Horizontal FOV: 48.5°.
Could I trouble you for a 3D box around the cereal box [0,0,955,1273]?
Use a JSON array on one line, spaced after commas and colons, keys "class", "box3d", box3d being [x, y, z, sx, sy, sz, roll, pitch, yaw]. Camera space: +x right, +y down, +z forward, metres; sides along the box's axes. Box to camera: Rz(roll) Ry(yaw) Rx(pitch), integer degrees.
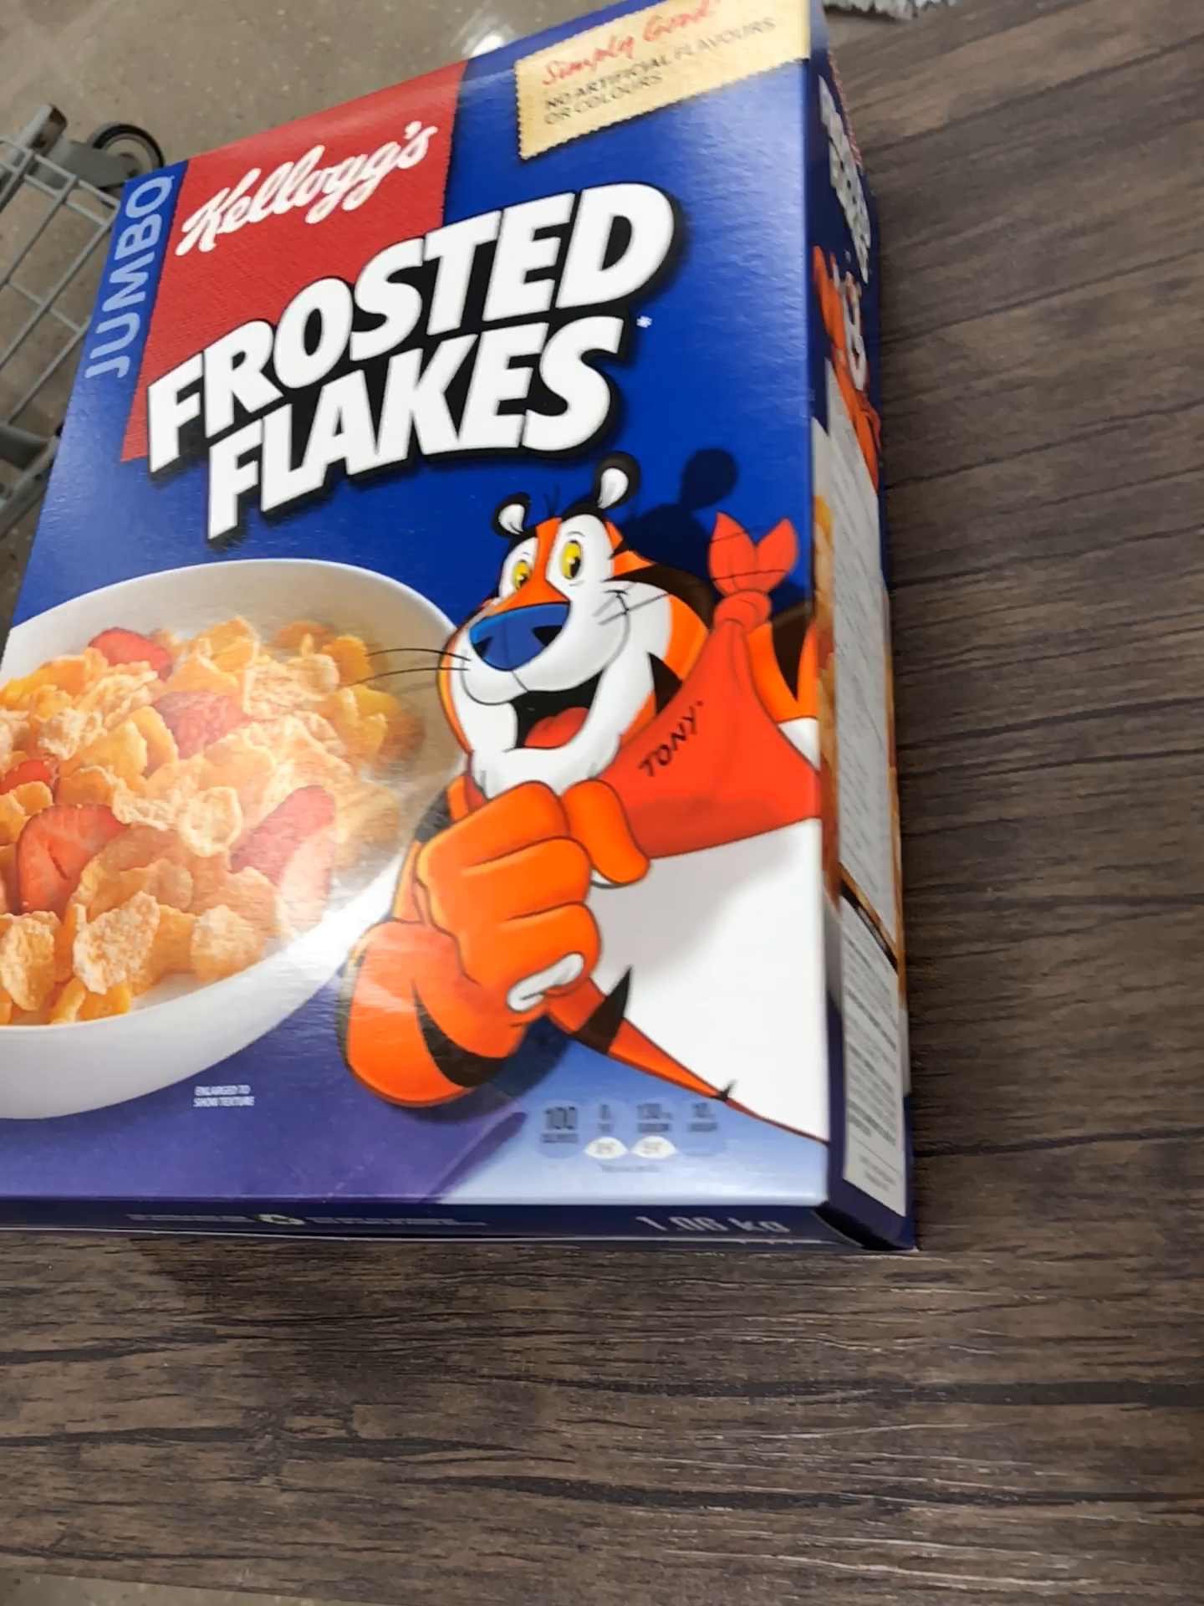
[{"class": "cereal box", "box3d": [-0.040, -0.069, 0.387, 0.251, 0.100, 0.370, -6, 64, 23]}]
